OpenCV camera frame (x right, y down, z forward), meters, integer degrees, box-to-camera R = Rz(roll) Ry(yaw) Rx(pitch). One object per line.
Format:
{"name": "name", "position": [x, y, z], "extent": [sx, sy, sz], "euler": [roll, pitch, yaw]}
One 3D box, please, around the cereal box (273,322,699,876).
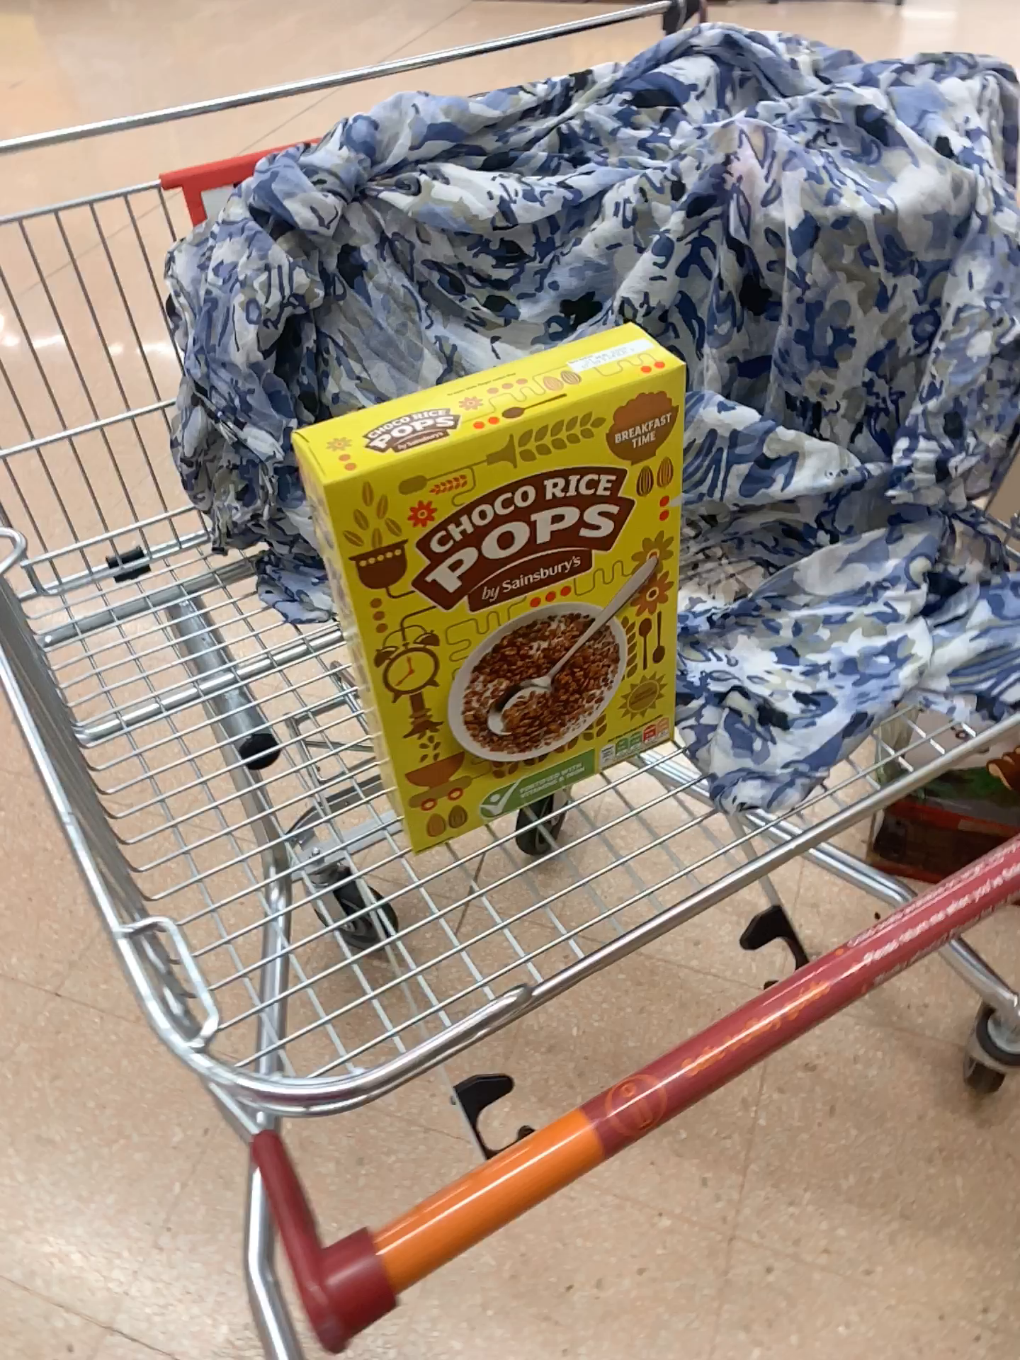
{"name": "cereal box", "position": [0.000, -0.037, 0.587], "extent": [0.200, 0.267, 0.060], "euler": [-22, 44, -19]}
